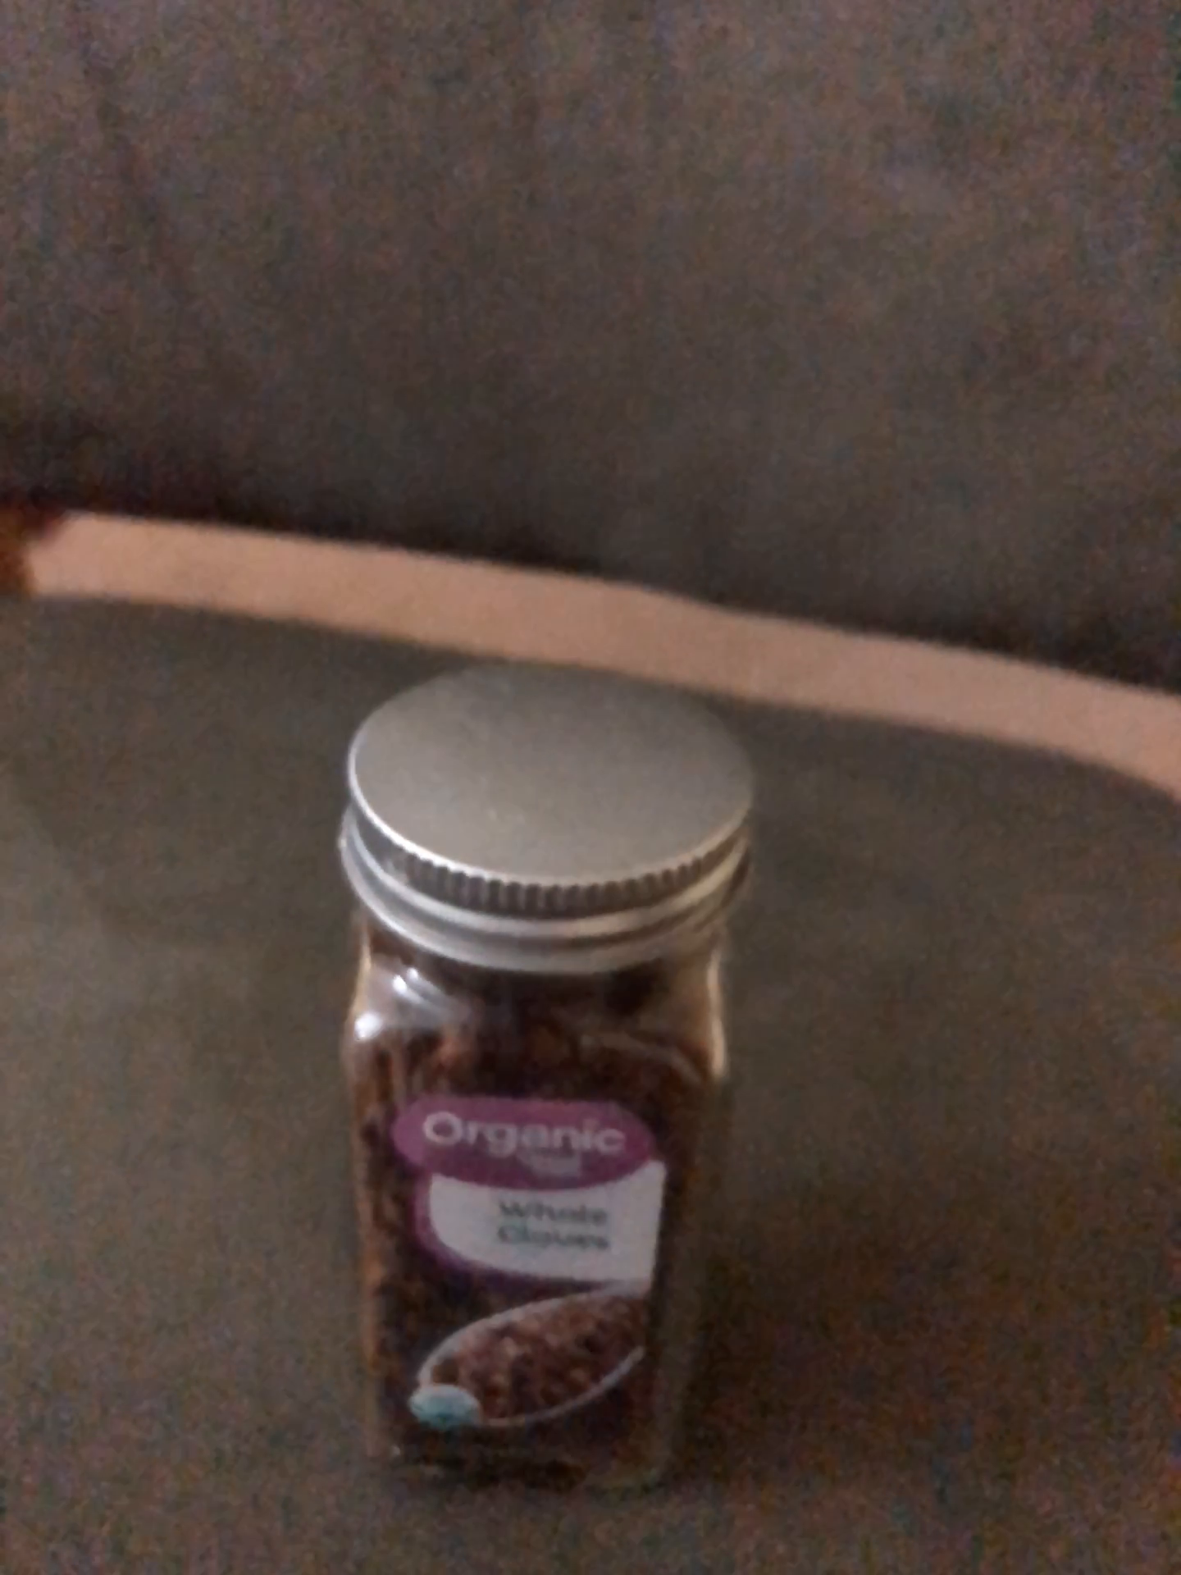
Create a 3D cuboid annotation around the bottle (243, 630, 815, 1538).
[{"bbox_3d":[-0.006,0.039,0.167,0.050,0.100,0.050,2,35,-1],"label":"bottle"}]
